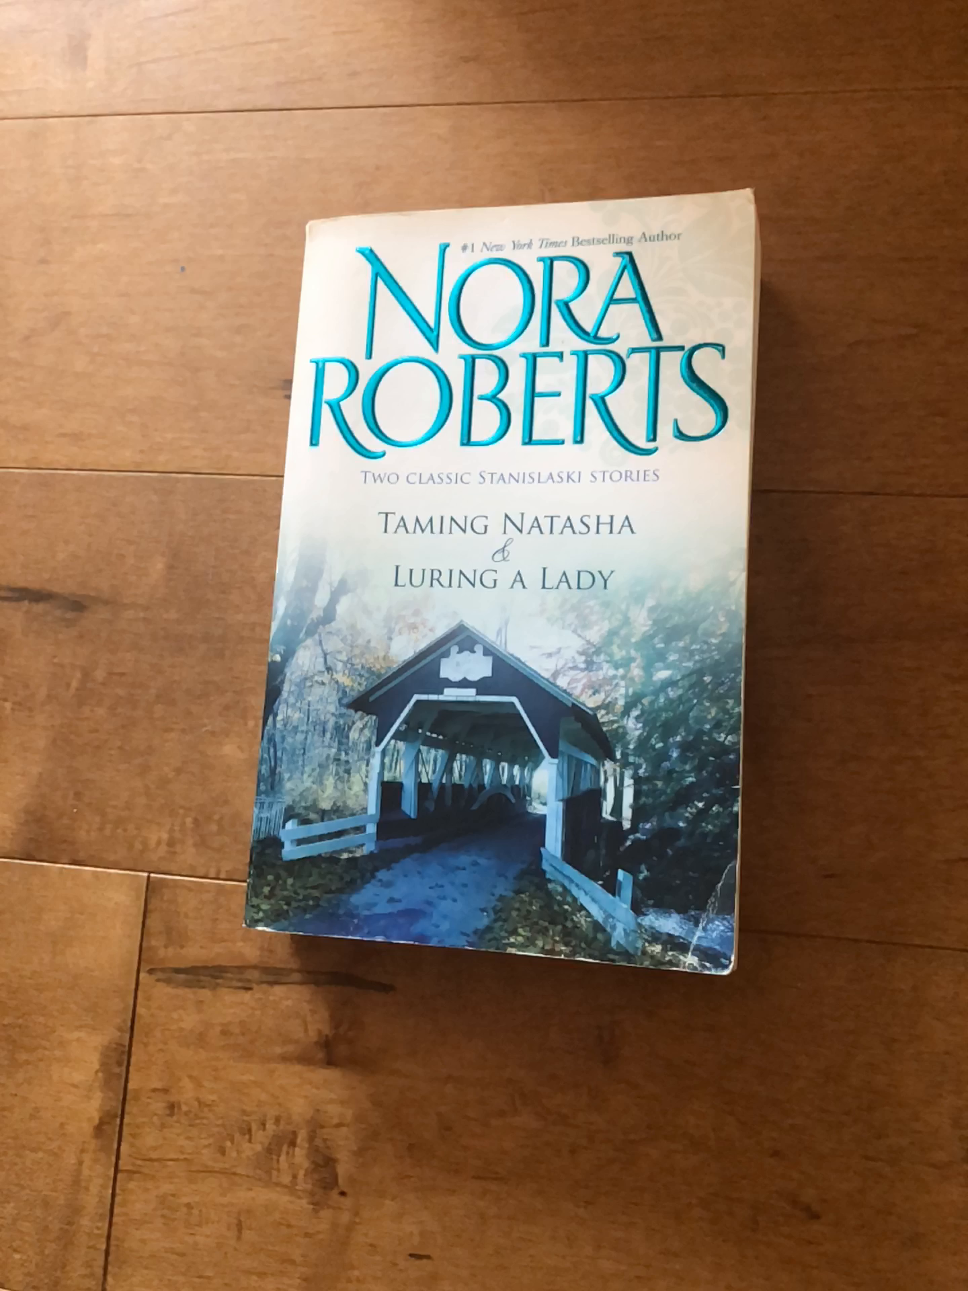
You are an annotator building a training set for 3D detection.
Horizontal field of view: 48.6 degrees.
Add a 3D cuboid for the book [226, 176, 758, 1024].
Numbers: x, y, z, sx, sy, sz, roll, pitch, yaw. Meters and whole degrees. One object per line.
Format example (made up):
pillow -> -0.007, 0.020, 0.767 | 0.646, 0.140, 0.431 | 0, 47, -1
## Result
book -> 0.006, -0.017, 0.305 | 0.130, 0.040, 0.220 | 2, 82, 10
